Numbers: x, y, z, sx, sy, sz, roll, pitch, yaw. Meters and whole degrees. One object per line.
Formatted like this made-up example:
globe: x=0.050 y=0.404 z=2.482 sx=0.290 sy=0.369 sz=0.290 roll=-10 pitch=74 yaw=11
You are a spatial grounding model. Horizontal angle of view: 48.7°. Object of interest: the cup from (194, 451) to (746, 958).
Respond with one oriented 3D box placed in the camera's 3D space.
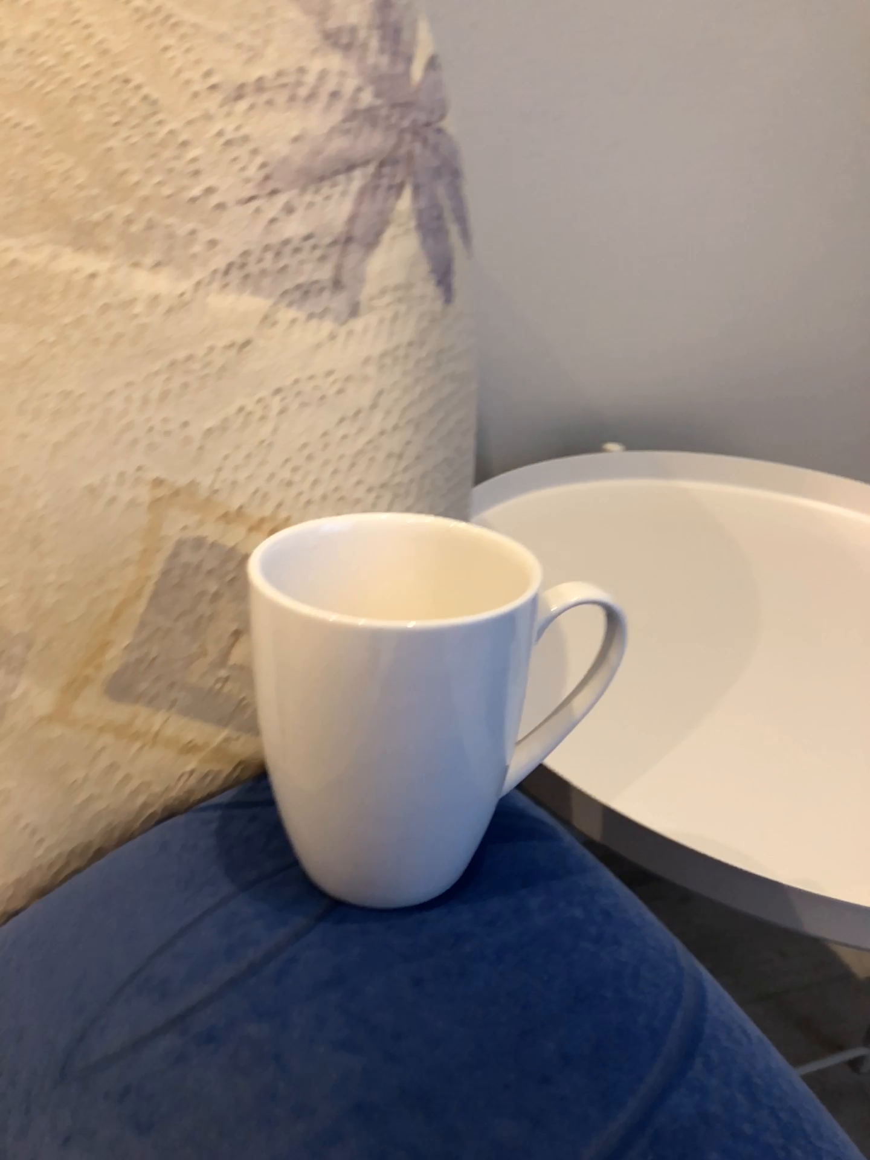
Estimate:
cup: x=0.004 y=0.023 z=0.252 sx=0.110 sy=0.079 sz=0.080 roll=-10 pitch=31 yaw=-26
